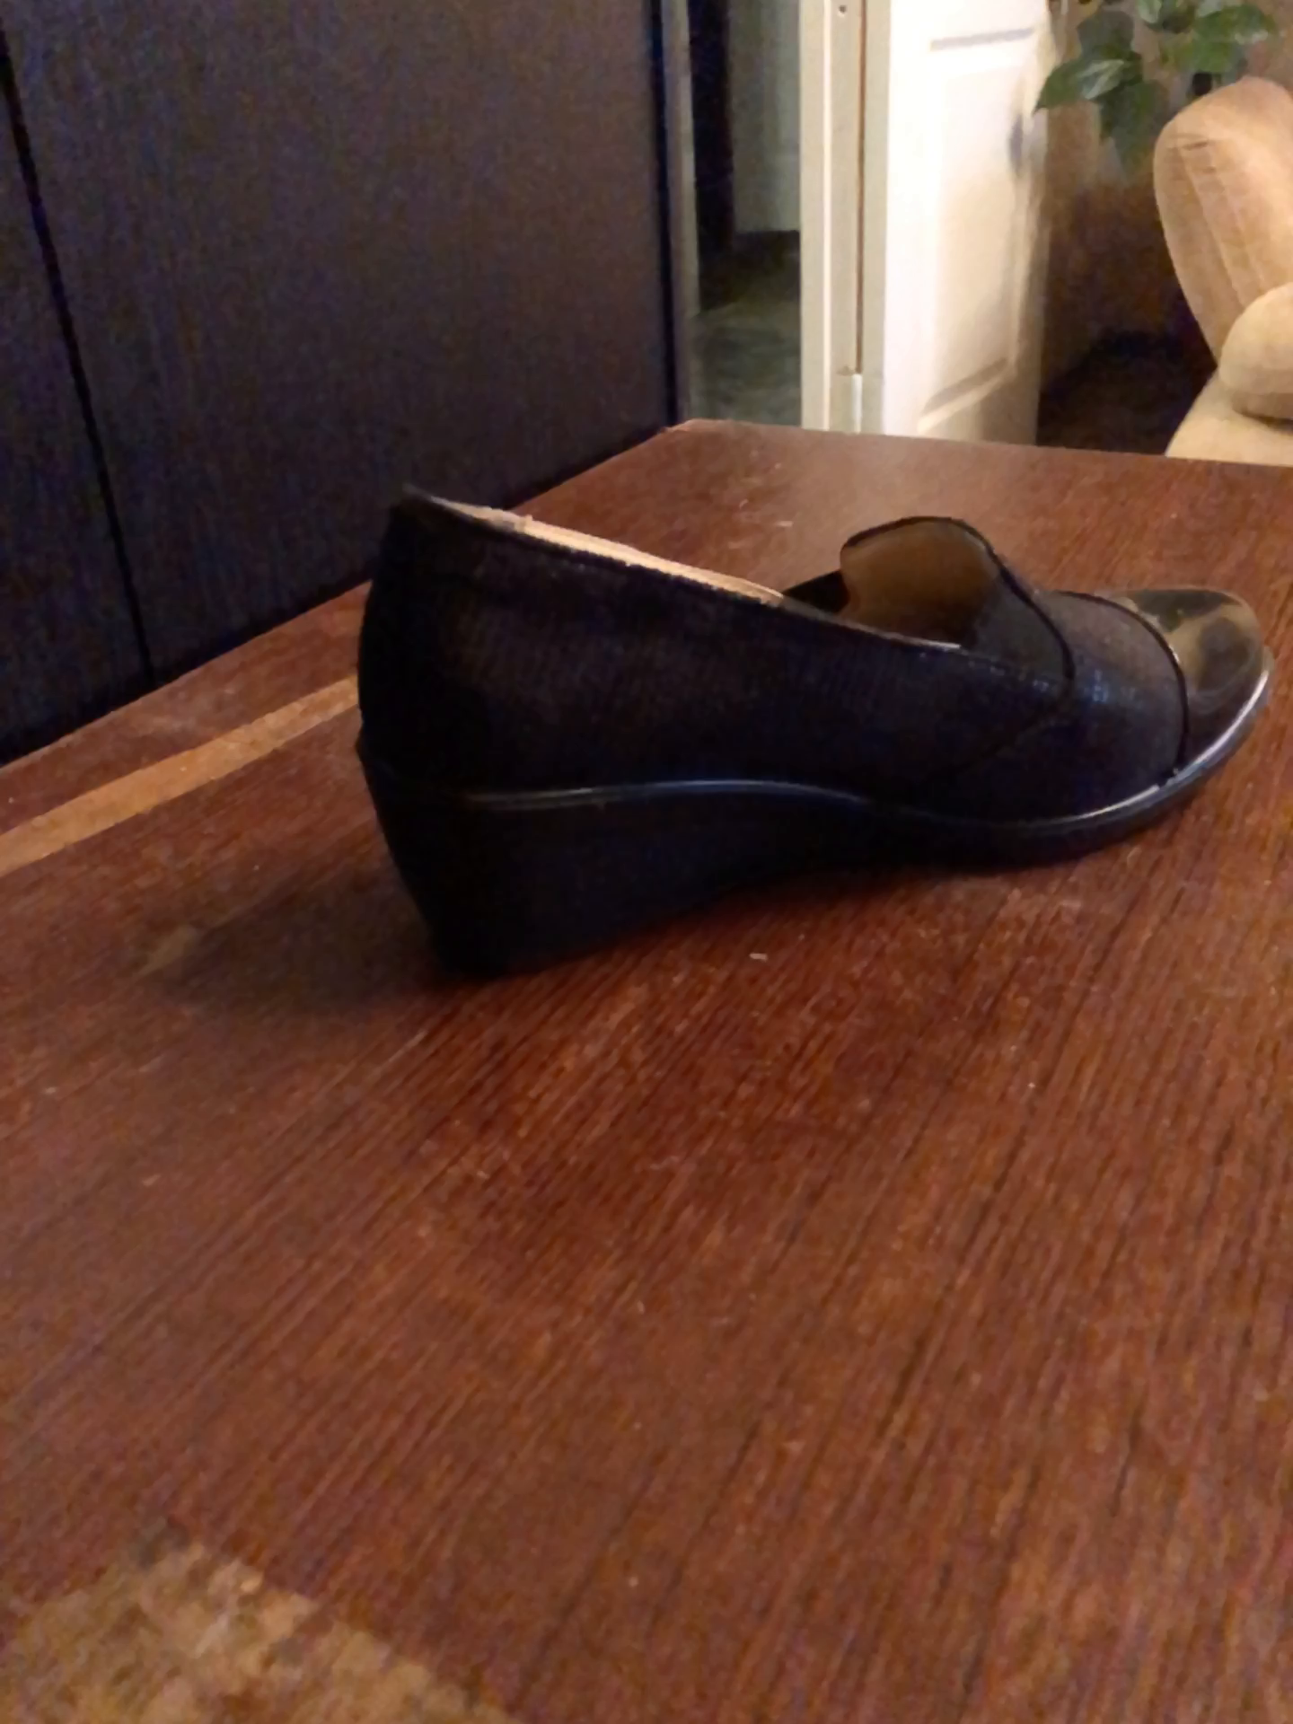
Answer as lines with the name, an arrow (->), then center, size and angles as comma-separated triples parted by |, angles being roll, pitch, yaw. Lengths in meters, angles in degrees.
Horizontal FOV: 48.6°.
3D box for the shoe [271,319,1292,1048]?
shoe -> 0.051, -0.053, 0.319 | 0.235, 0.090, 0.090 | -15, 32, -19
